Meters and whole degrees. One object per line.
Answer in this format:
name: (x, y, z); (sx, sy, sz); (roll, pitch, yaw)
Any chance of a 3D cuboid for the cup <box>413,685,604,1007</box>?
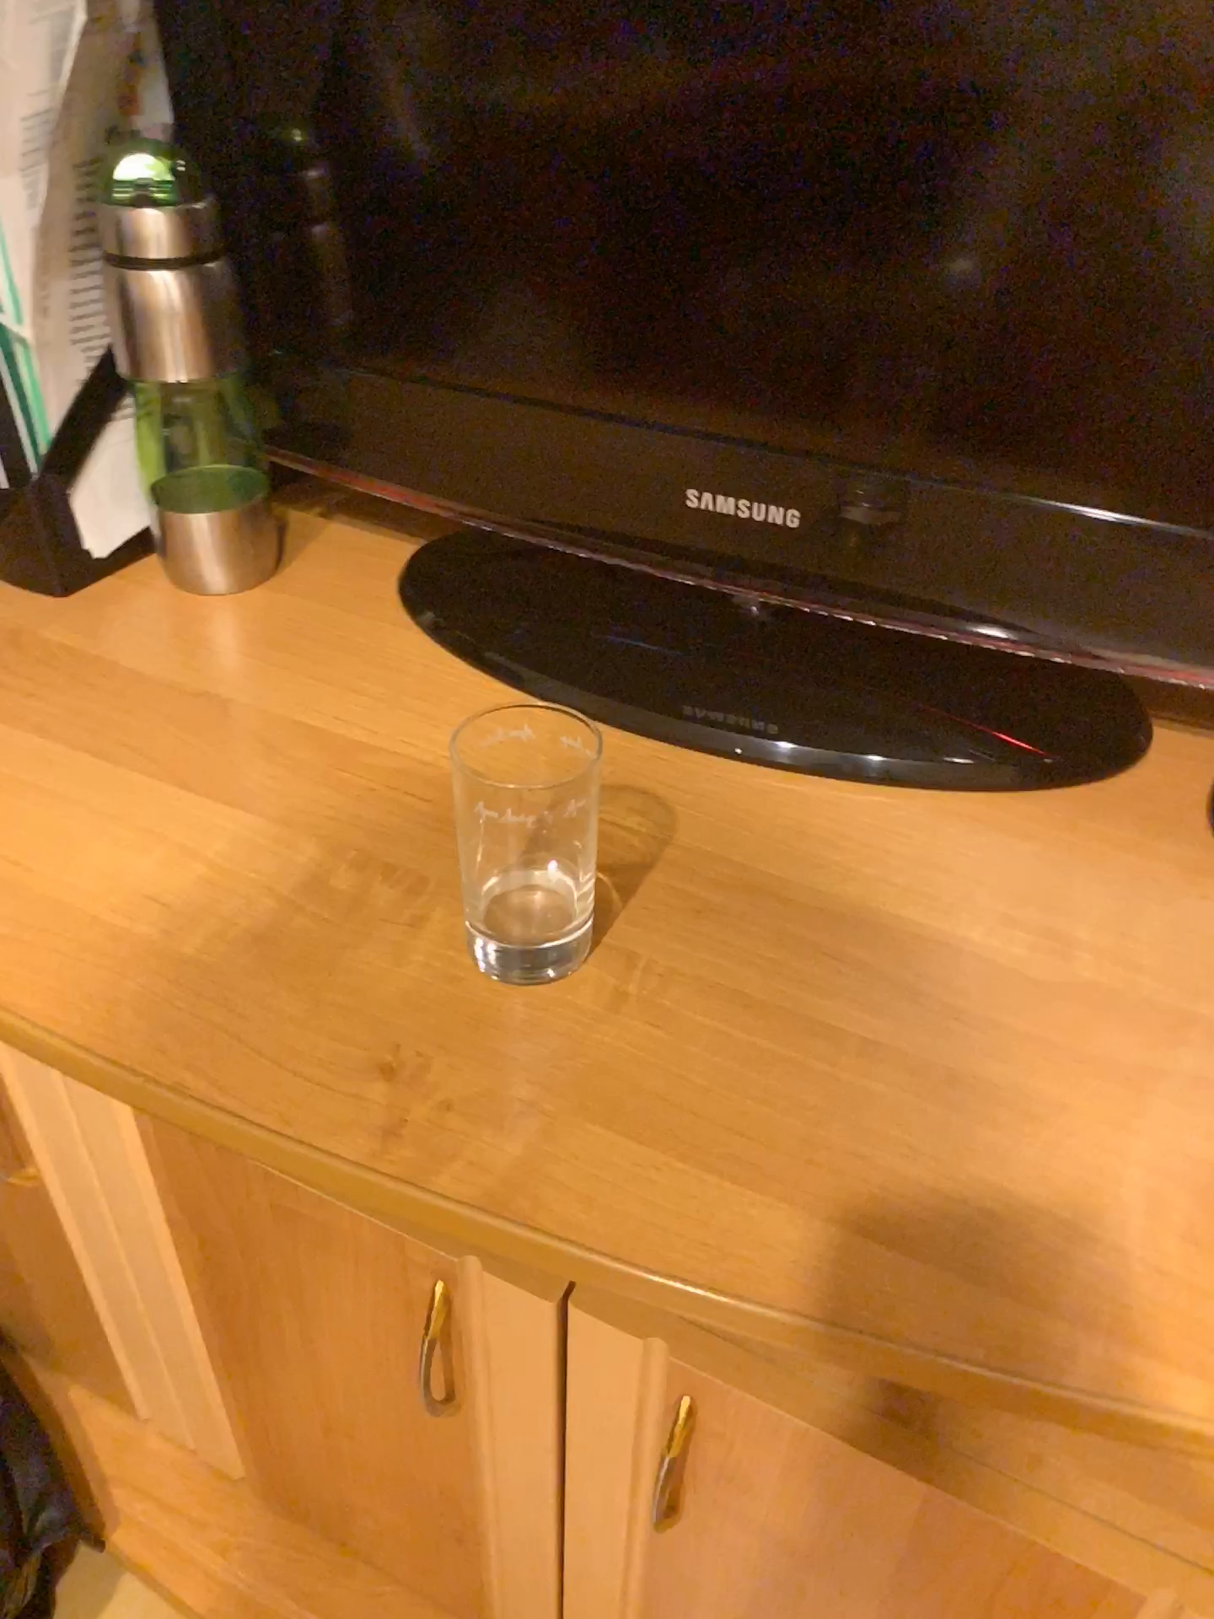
cup: (-0.037, 0.014, 0.471); (0.060, 0.099, 0.061); (1, 36, 0)
